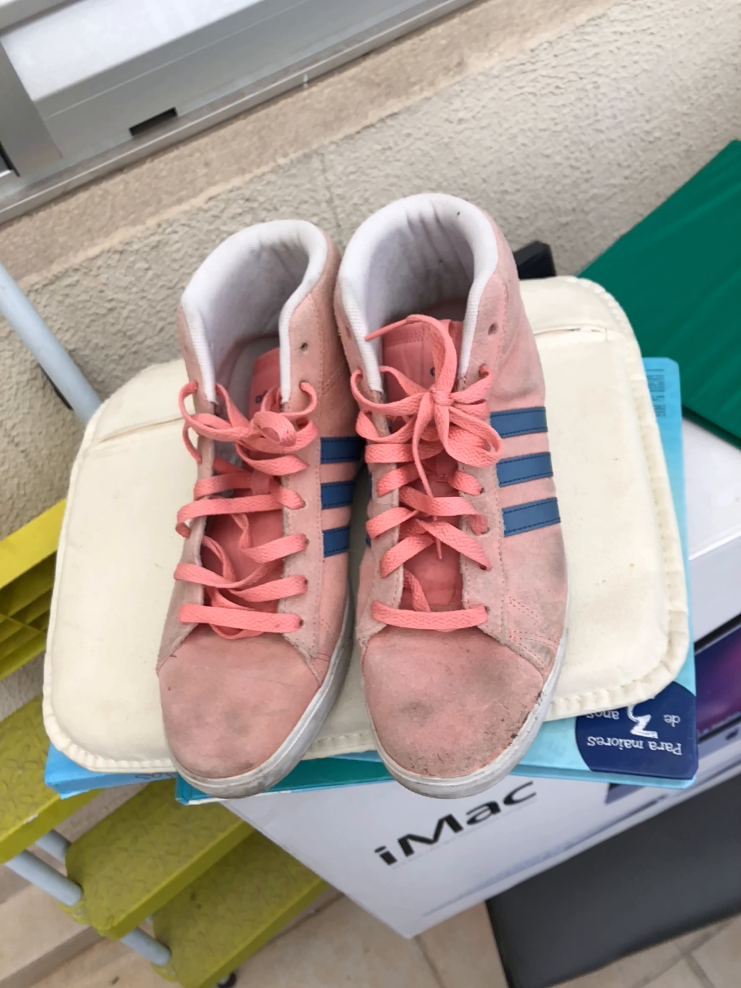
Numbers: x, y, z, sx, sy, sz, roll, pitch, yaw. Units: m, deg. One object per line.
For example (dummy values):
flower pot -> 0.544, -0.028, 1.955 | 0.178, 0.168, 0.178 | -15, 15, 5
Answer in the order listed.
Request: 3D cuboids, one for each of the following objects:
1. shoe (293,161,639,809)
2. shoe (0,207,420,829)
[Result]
shoe -> 0.042, -0.008, 0.362 | 0.100, 0.129, 0.251 | -3, 55, 9
shoe -> -0.050, 0.003, 0.382 | 0.100, 0.129, 0.251 | 2, 56, 13
